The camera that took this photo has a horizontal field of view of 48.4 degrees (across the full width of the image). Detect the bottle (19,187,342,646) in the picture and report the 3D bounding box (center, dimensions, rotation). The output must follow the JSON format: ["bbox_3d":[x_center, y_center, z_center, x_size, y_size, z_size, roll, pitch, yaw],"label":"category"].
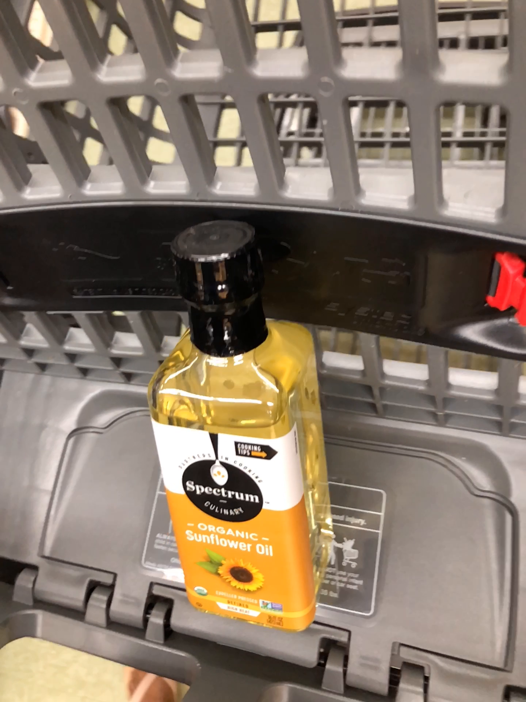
[{"bbox_3d":[-0.015,0.038,0.256,0.080,0.200,0.070,5,40,17],"label":"bottle"}]
